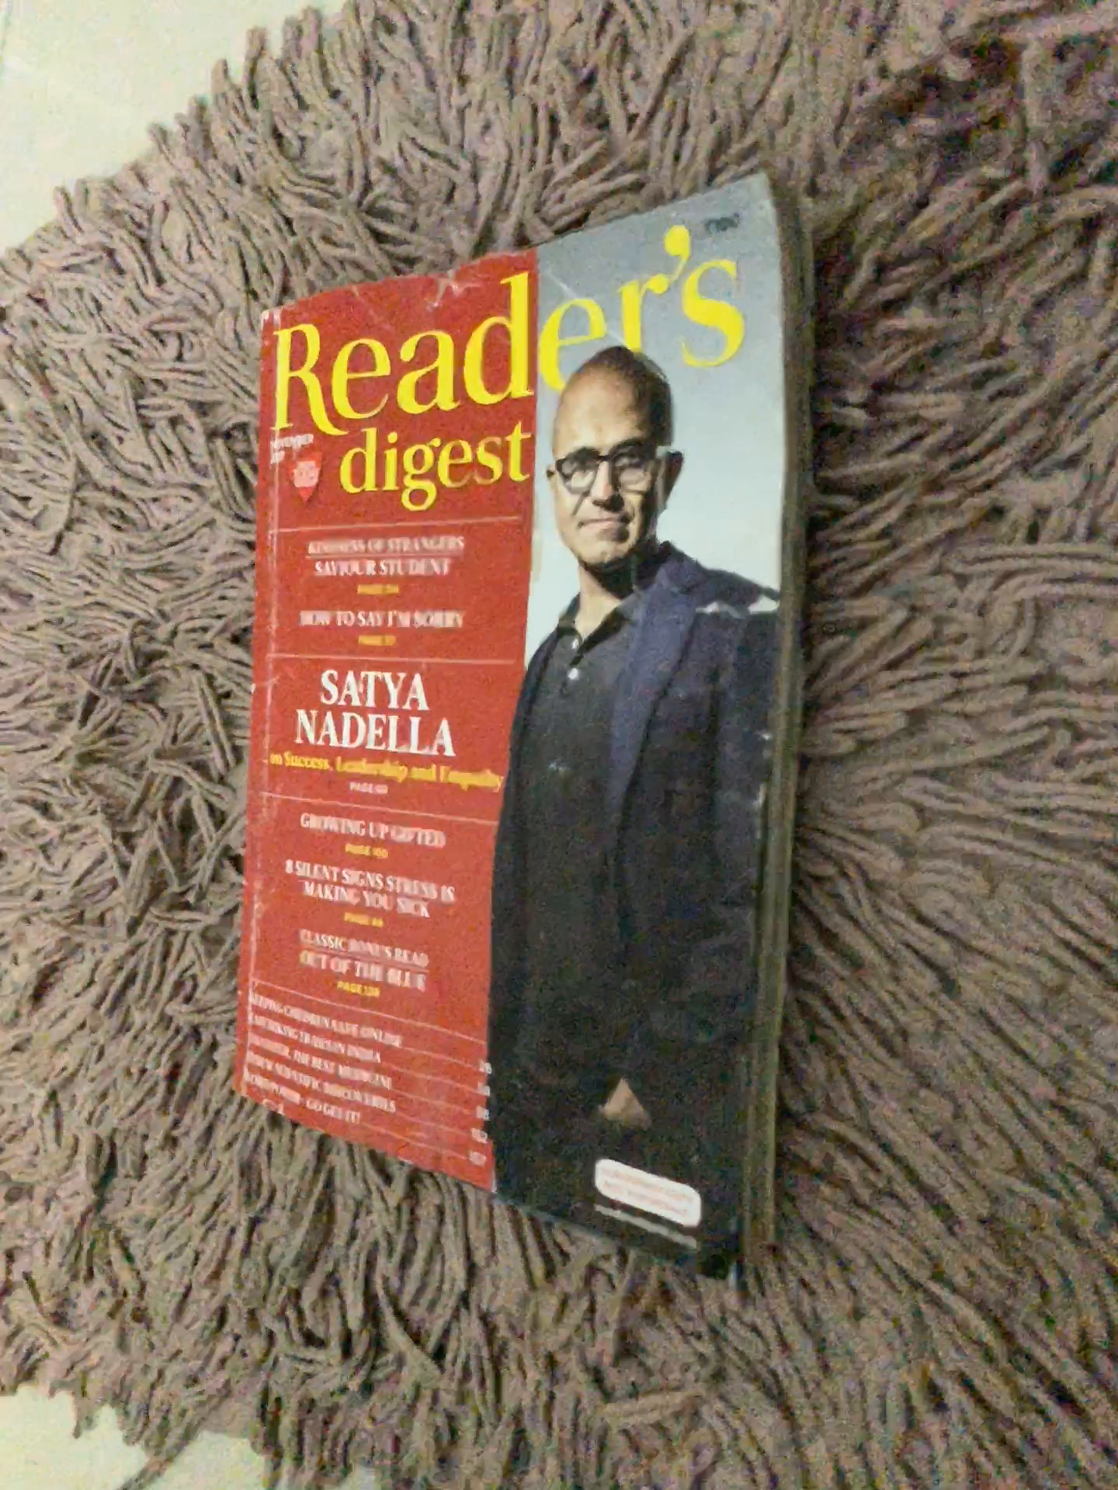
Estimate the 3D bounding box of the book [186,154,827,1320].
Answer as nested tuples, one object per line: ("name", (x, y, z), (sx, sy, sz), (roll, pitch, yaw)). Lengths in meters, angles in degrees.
("book", (-0.019, -0.004, 0.223), (0.131, 0.020, 0.180), (4, 92, 35))
